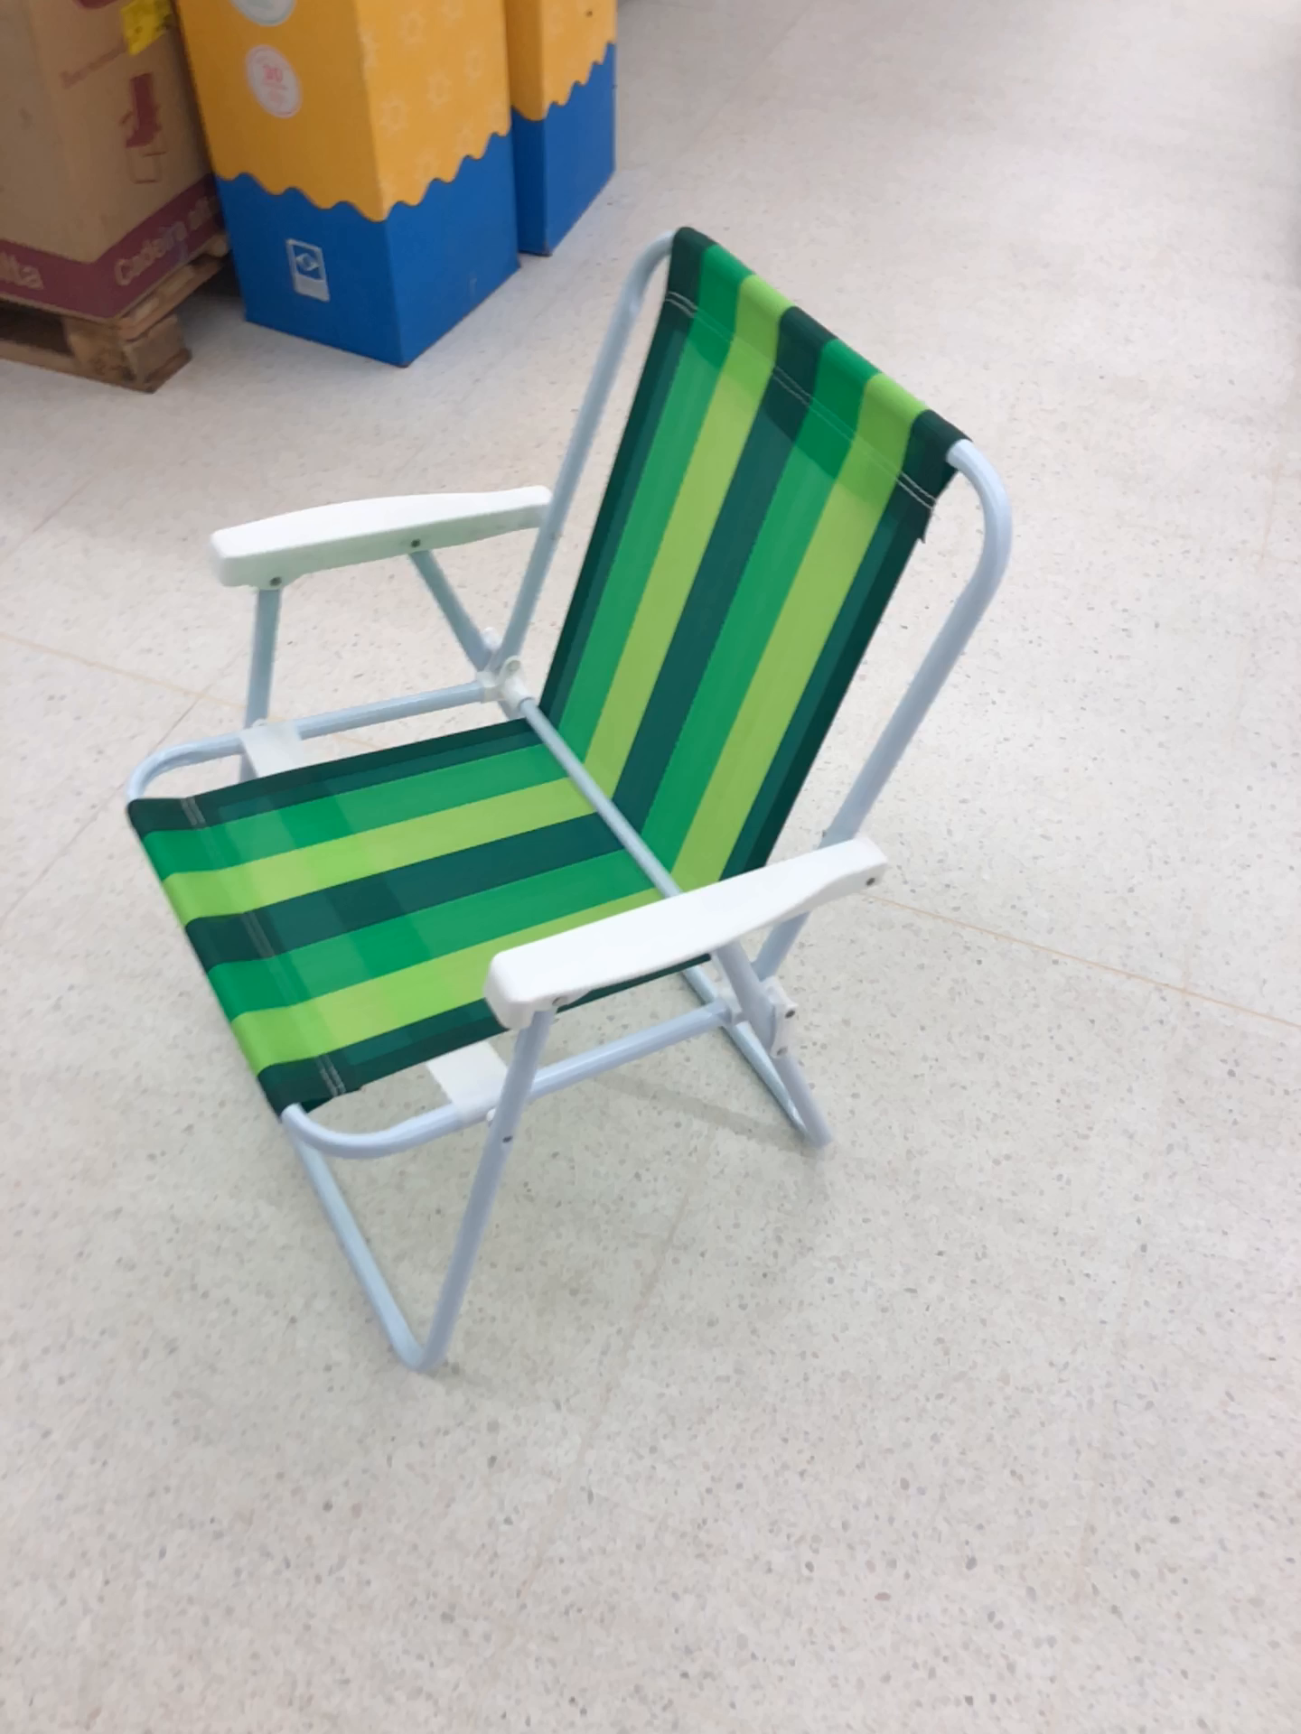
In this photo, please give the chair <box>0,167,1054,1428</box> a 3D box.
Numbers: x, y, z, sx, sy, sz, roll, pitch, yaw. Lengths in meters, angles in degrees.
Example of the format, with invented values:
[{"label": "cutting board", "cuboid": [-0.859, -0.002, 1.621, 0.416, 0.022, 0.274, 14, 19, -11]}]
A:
[{"label": "chair", "cuboid": [-0.130, -0.041, 1.129, 0.521, 0.715, 0.512, -23, 53, -20]}]
